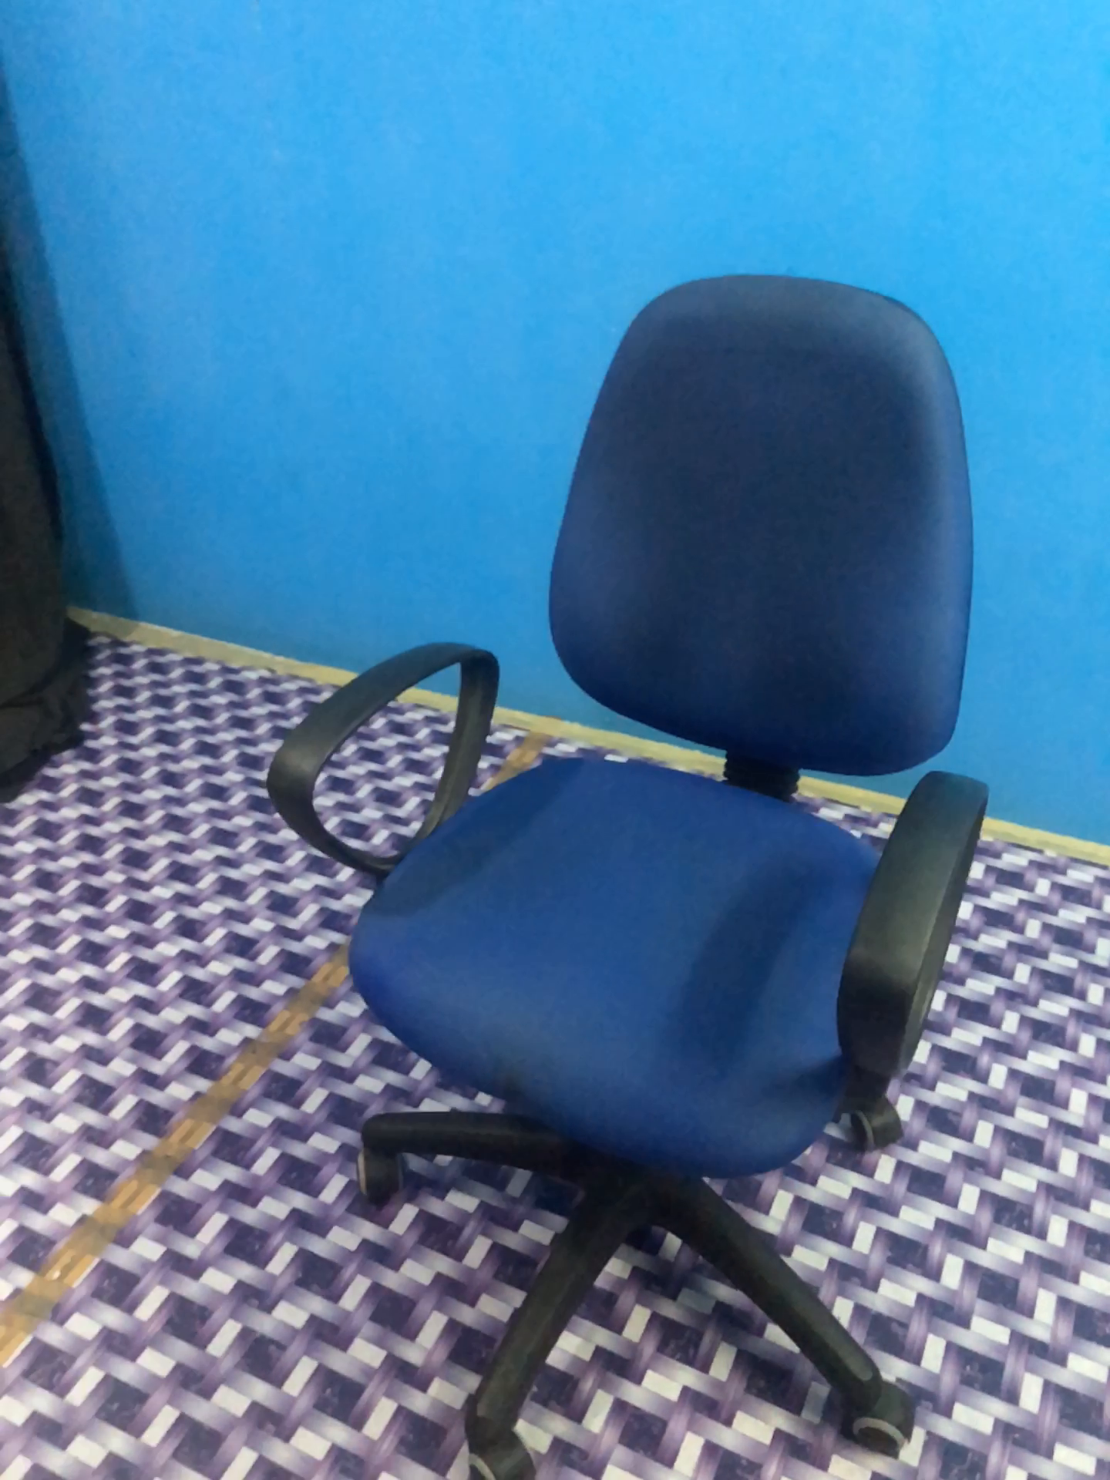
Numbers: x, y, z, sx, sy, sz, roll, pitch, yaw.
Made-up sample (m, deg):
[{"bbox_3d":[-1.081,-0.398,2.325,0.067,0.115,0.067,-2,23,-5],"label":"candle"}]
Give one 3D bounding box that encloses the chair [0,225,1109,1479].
[{"bbox_3d":[0.039,0.116,1.039,0.700,0.875,0.674,14,36,22],"label":"chair"}]
